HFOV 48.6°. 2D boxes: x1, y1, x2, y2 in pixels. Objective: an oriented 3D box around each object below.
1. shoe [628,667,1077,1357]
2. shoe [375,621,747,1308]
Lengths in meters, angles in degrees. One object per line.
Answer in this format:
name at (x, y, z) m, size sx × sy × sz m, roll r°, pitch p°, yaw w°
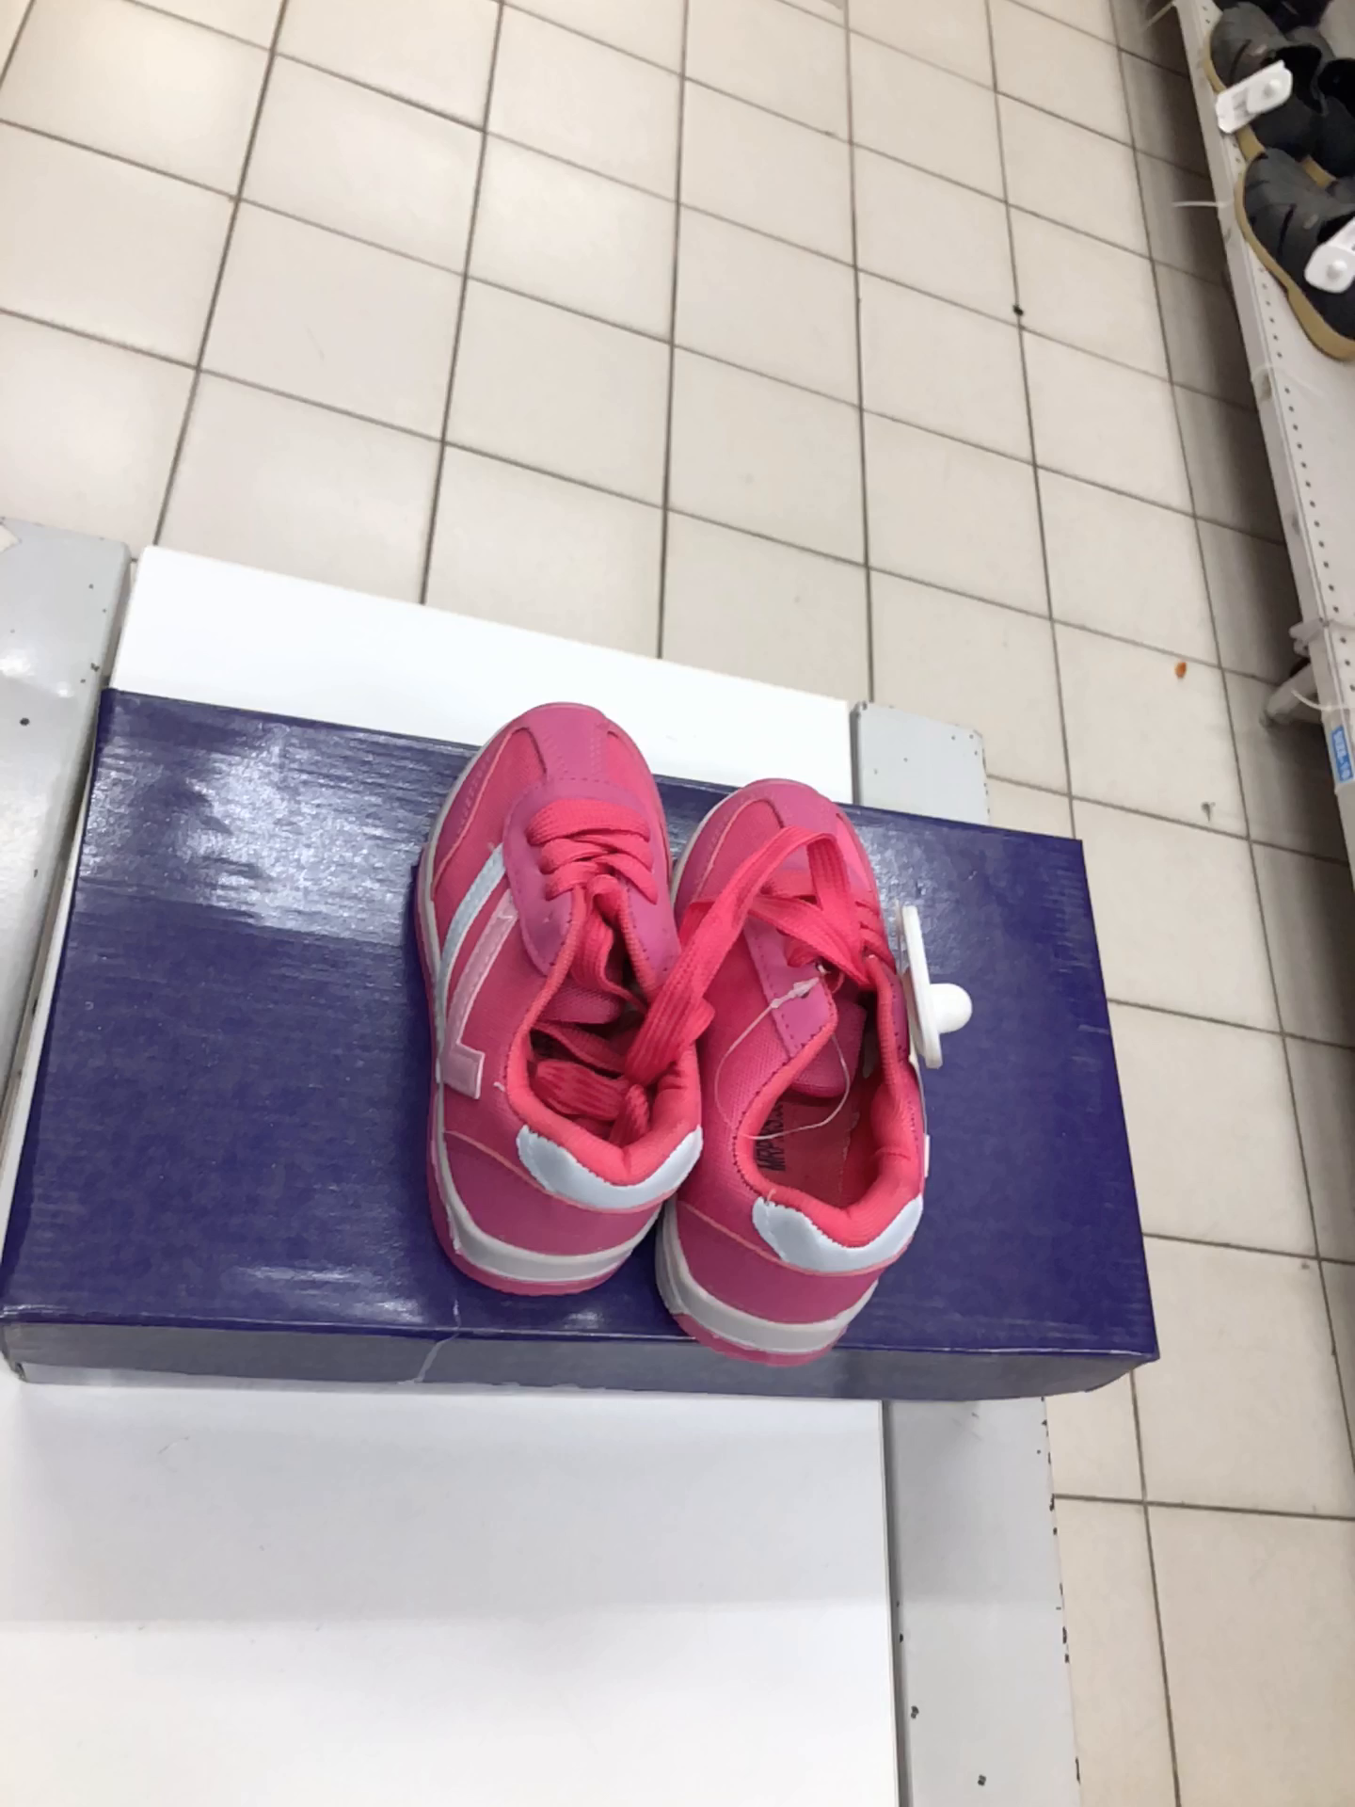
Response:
shoe at (0.040, 0.033, 0.414) m, size 0.080 × 0.089 × 0.161 m, roll 9°, pitch 62°, yaw -20°
shoe at (-0.034, 0.020, 0.416) m, size 0.070 × 0.089 × 0.161 m, roll 9°, pitch 62°, yaw -20°
